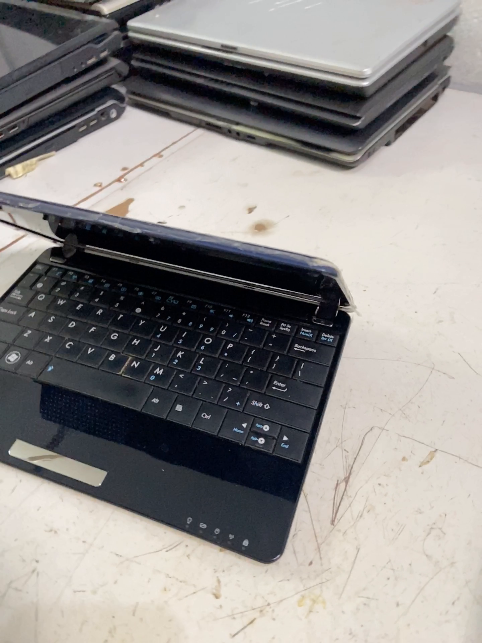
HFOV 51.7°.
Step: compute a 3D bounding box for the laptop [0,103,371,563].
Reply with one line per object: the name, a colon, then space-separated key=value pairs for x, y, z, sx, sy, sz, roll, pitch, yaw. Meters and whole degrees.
laptop: x=-0.078 y=-0.012 z=0.295 sx=0.259 sy=0.121 sz=0.170 roll=14 pitch=51 yaw=16
